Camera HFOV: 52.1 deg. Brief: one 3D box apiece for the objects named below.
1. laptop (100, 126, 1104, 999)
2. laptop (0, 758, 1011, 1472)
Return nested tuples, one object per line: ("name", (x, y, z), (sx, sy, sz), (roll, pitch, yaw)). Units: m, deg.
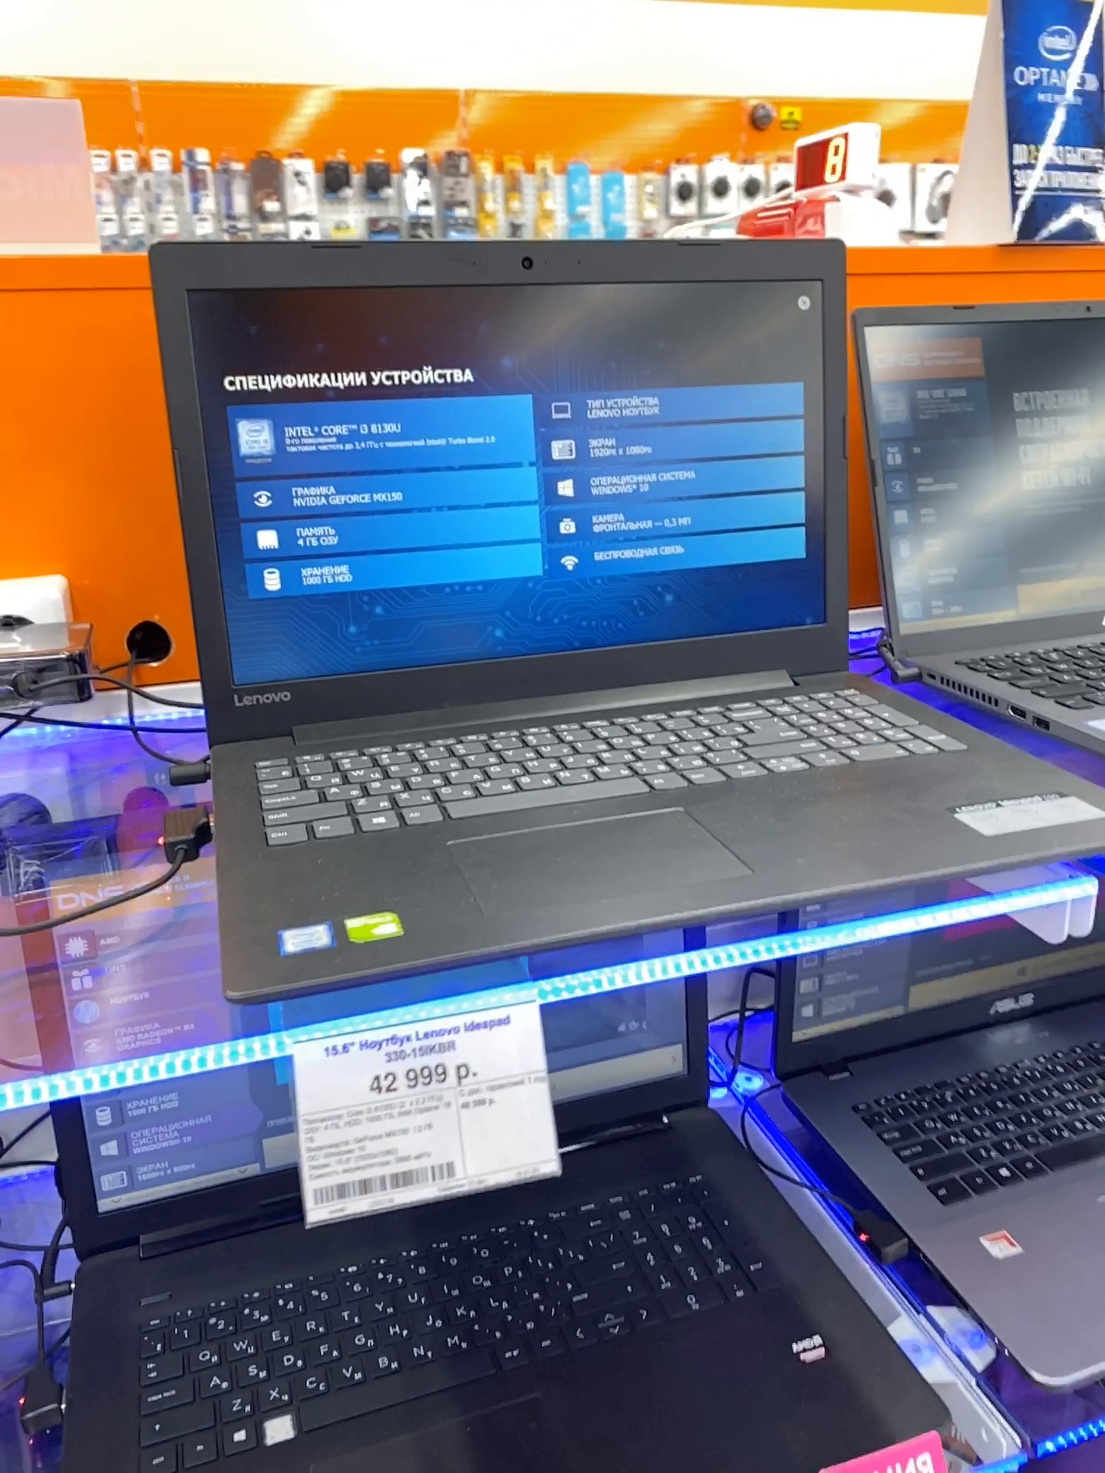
("laptop", (0.028, -0.099, 0.501), (0.377, 0.244, 0.290), (-7, 19, -16))
("laptop", (-0.044, 0.194, 0.566), (0.400, 0.263, 0.272), (-7, 17, -19))
